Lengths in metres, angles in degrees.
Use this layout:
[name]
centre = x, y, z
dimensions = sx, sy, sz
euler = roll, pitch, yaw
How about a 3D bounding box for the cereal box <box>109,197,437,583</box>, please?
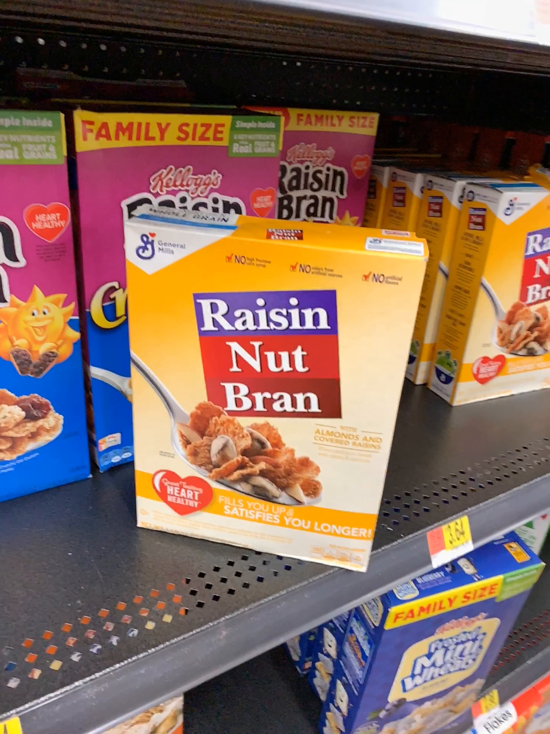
[cereal box]
centre = -0.009, 0.023, 0.421
dimensions = 0.200, 0.259, 0.060
euler = 9, 27, 8
